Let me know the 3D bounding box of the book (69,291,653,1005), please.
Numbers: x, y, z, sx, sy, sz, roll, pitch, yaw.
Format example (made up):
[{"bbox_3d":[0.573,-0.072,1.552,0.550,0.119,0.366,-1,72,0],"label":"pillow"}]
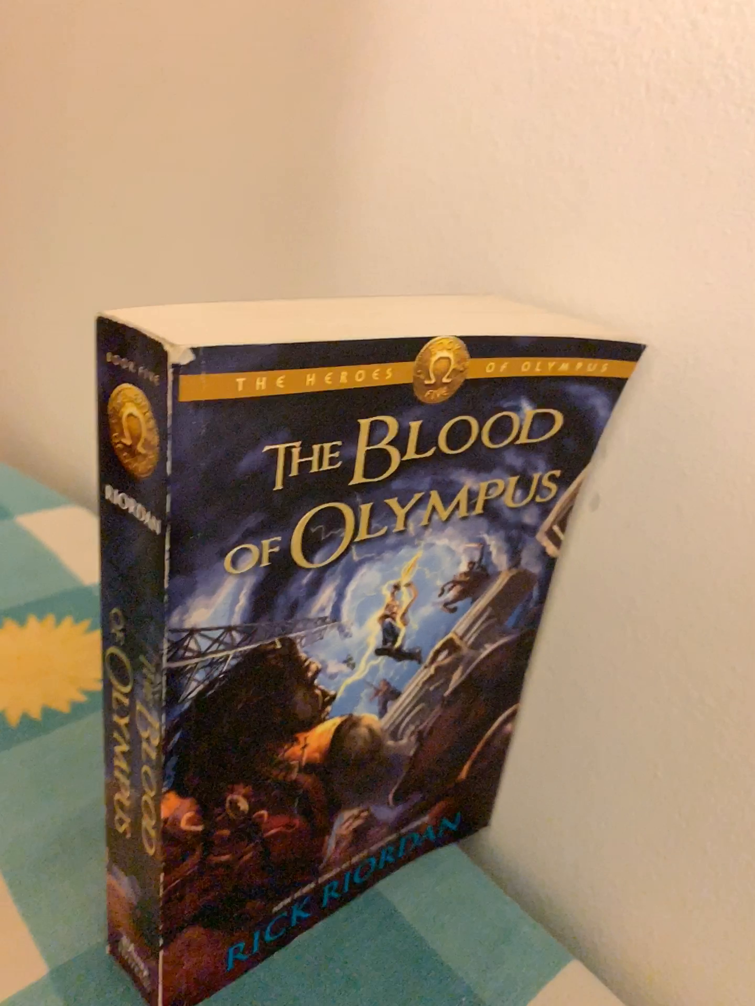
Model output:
[{"bbox_3d":[-0.006,0.036,0.234,0.151,0.180,0.051,-11,30,-40],"label":"book"}]
